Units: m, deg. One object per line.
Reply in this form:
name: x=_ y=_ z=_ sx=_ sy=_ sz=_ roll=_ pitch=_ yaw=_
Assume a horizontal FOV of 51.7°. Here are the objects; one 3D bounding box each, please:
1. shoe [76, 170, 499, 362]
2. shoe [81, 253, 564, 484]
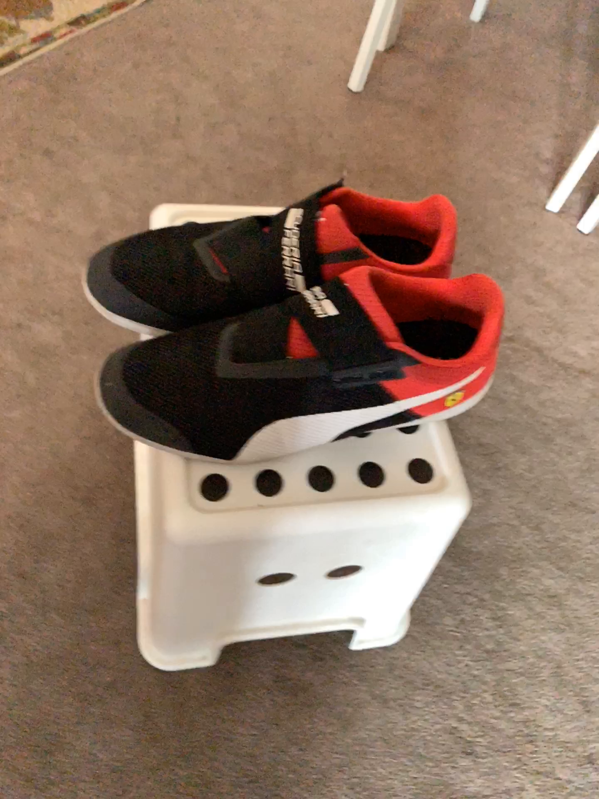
shoe: x=-0.013 y=-0.108 z=0.496 sx=0.300 sy=0.099 sz=0.101 roll=-4 pitch=59 yaw=-13
shoe: x=0.010 y=-0.026 z=0.440 sx=0.300 sy=0.099 sz=0.111 roll=-4 pitch=59 yaw=-13
